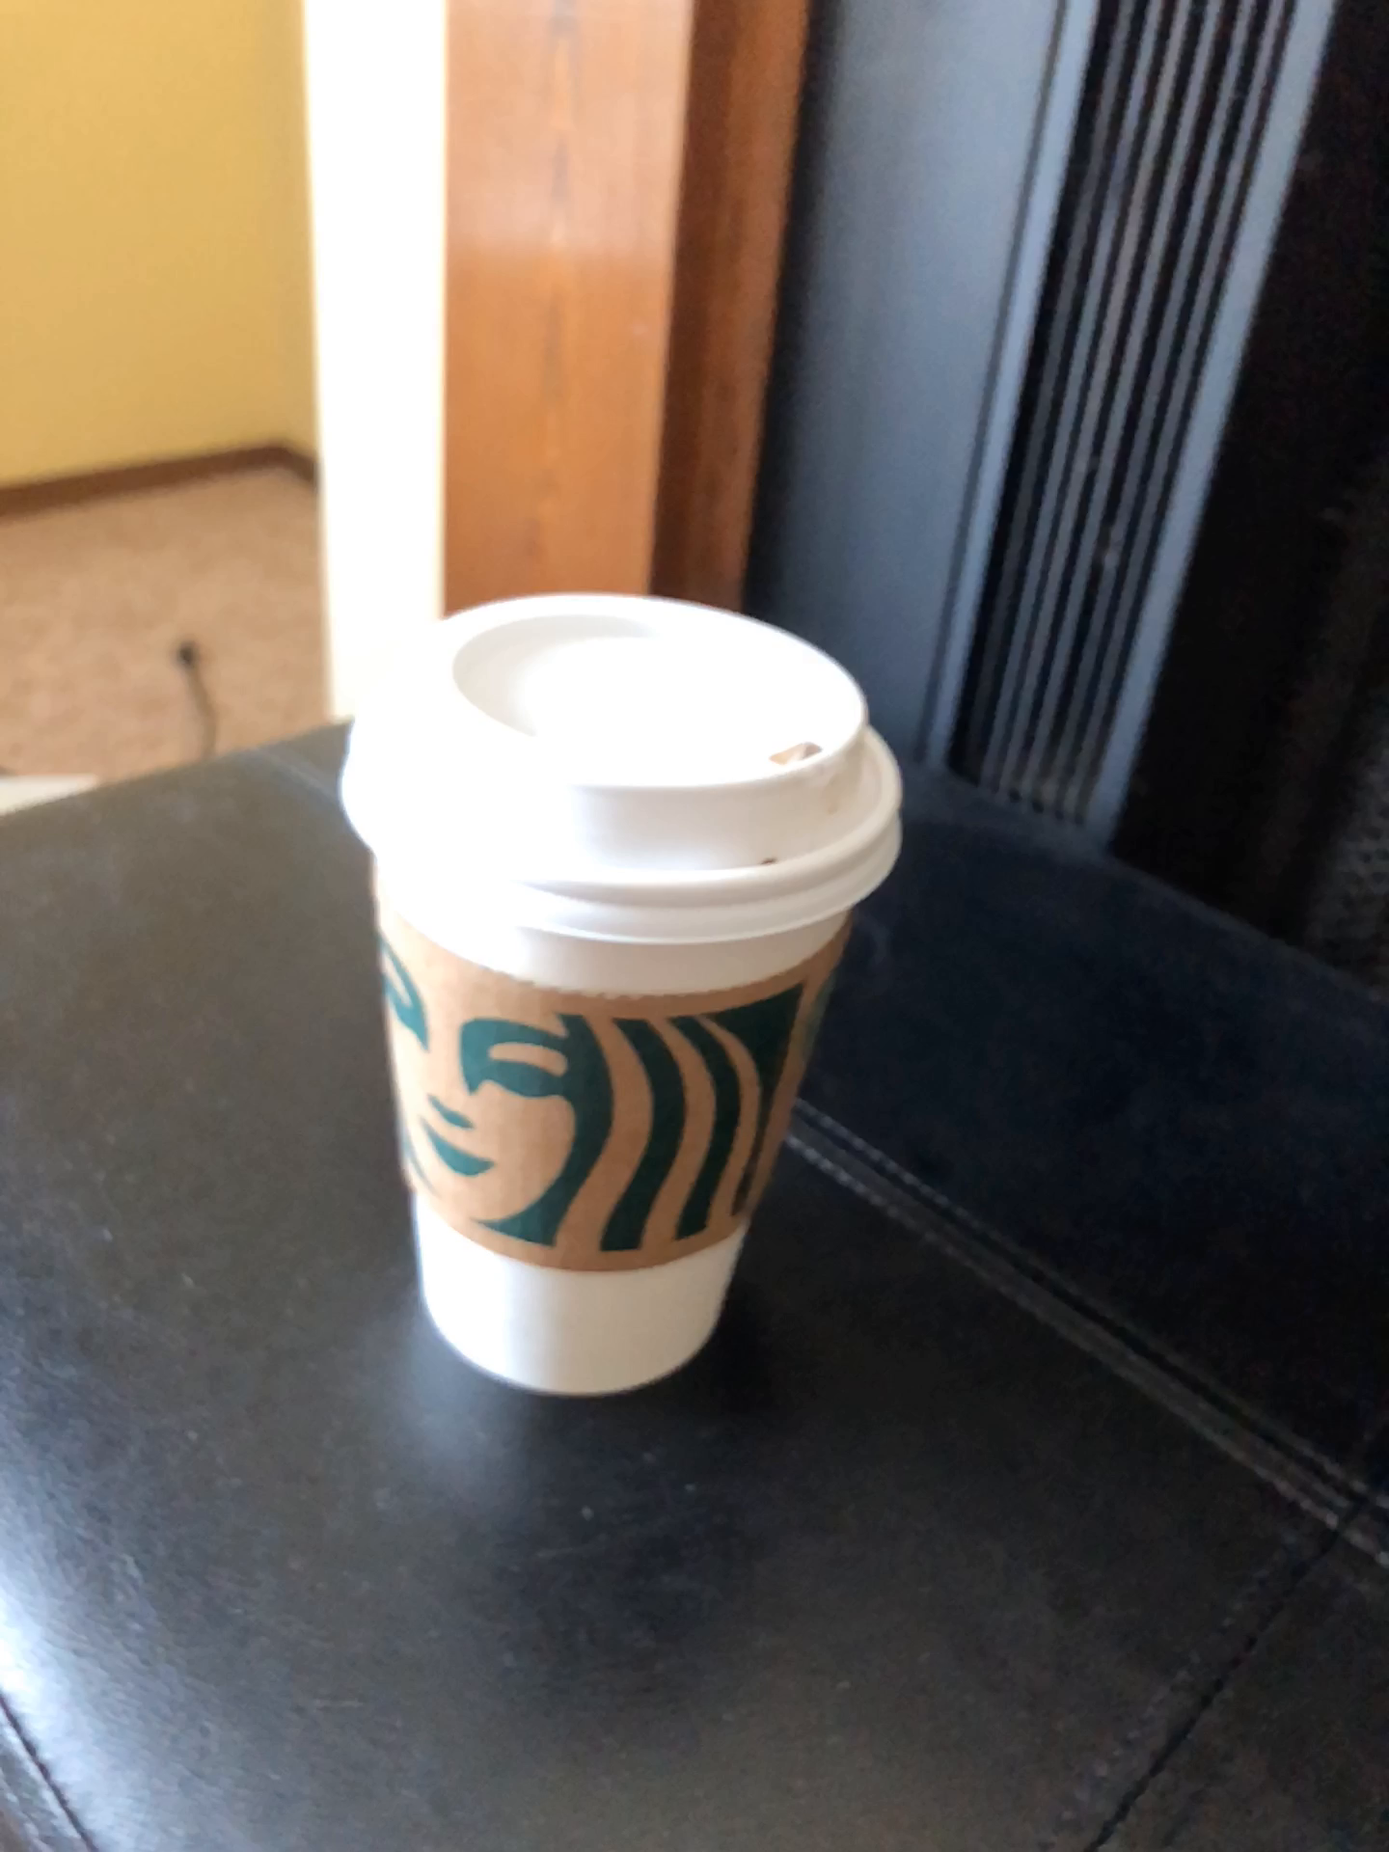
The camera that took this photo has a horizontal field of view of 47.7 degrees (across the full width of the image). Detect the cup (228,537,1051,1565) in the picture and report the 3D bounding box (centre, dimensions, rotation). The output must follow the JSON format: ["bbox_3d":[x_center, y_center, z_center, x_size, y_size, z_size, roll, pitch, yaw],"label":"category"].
[{"bbox_3d":[-0.008,0.015,0.262,0.090,0.120,0.090,5,33,-3],"label":"cup"}]
